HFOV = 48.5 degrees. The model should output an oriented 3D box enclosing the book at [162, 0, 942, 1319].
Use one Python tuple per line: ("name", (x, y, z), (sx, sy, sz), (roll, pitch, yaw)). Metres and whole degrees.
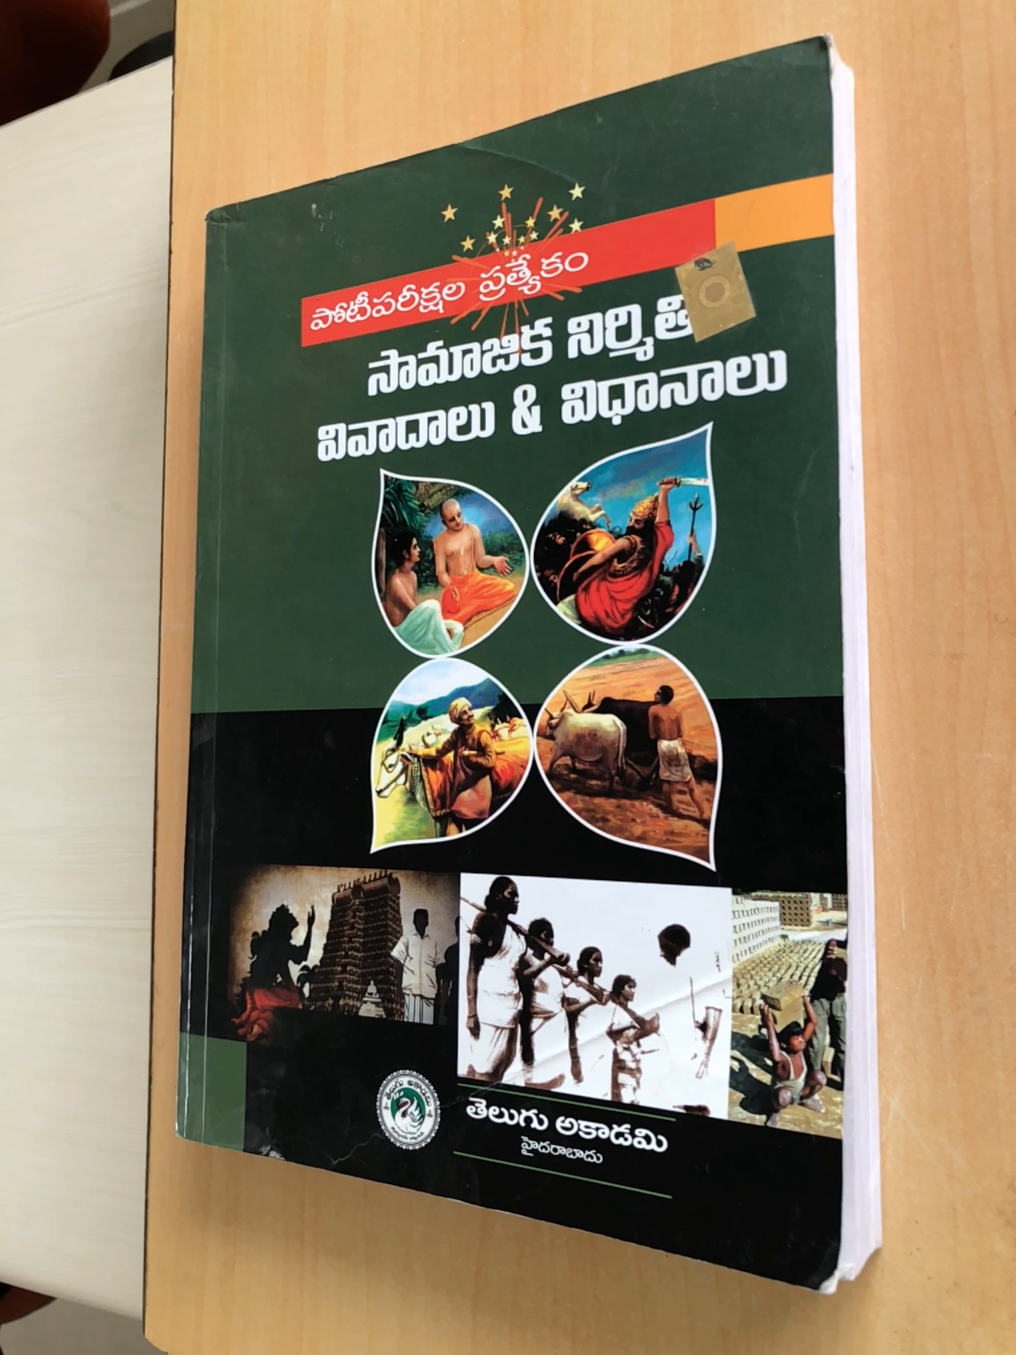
("book", (0.005, -0.007, 0.293), (0.190, 0.050, 0.270), (-2, 84, 27))
